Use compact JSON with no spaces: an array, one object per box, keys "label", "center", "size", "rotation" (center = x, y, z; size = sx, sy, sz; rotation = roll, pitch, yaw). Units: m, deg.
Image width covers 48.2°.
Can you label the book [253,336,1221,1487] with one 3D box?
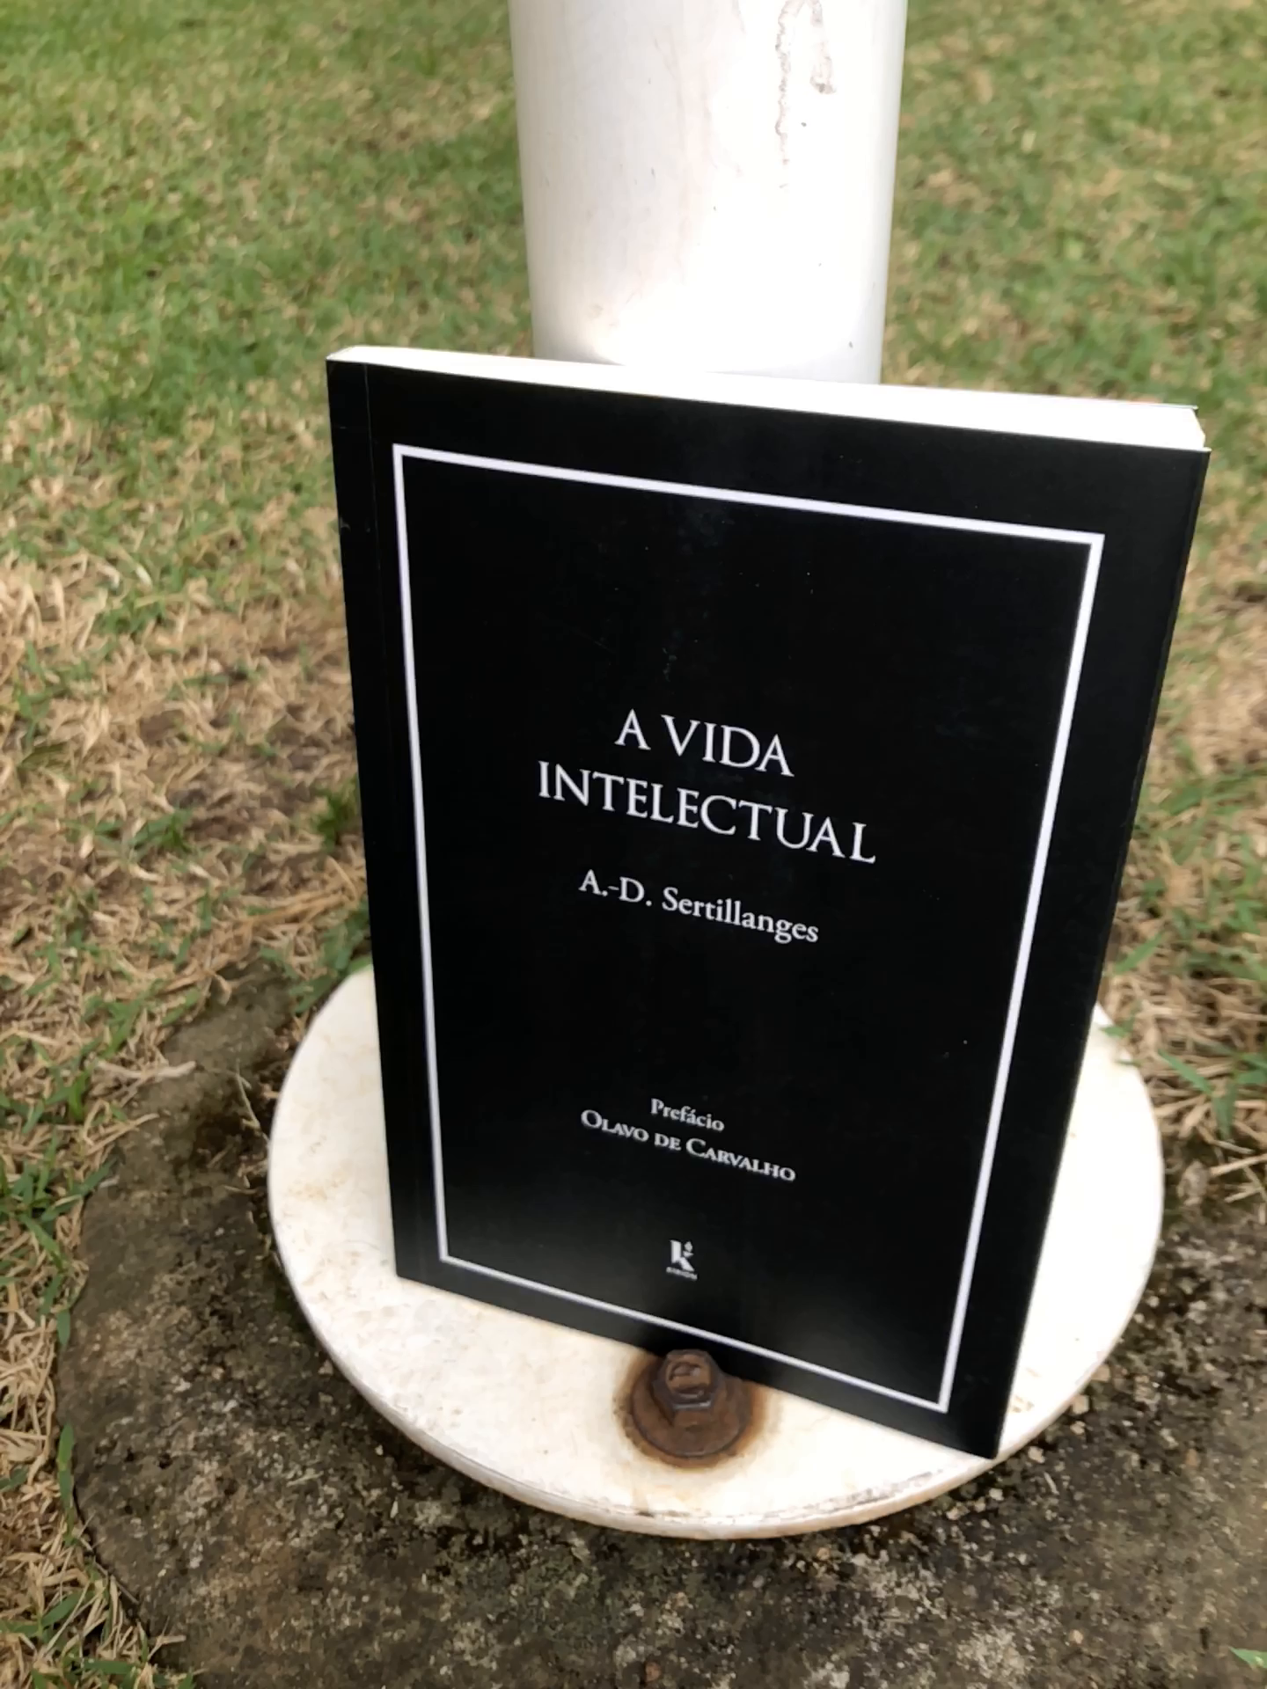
[{"label":"book","center":[0.010,0.017,0.253],"size":[0.140,0.193,0.025],"rotation":[11,30,18]}]
